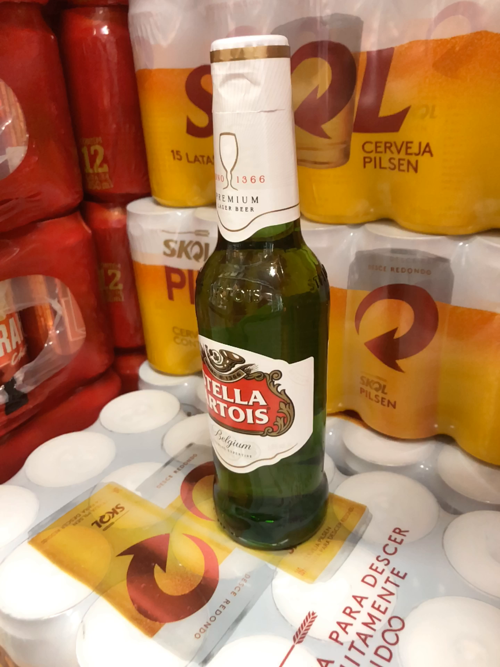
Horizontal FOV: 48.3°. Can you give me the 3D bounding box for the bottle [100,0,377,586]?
[{"bbox_3d":[0.006,-0.009,0.232,0.070,0.218,0.060,12,31,32],"label":"bottle"}]
